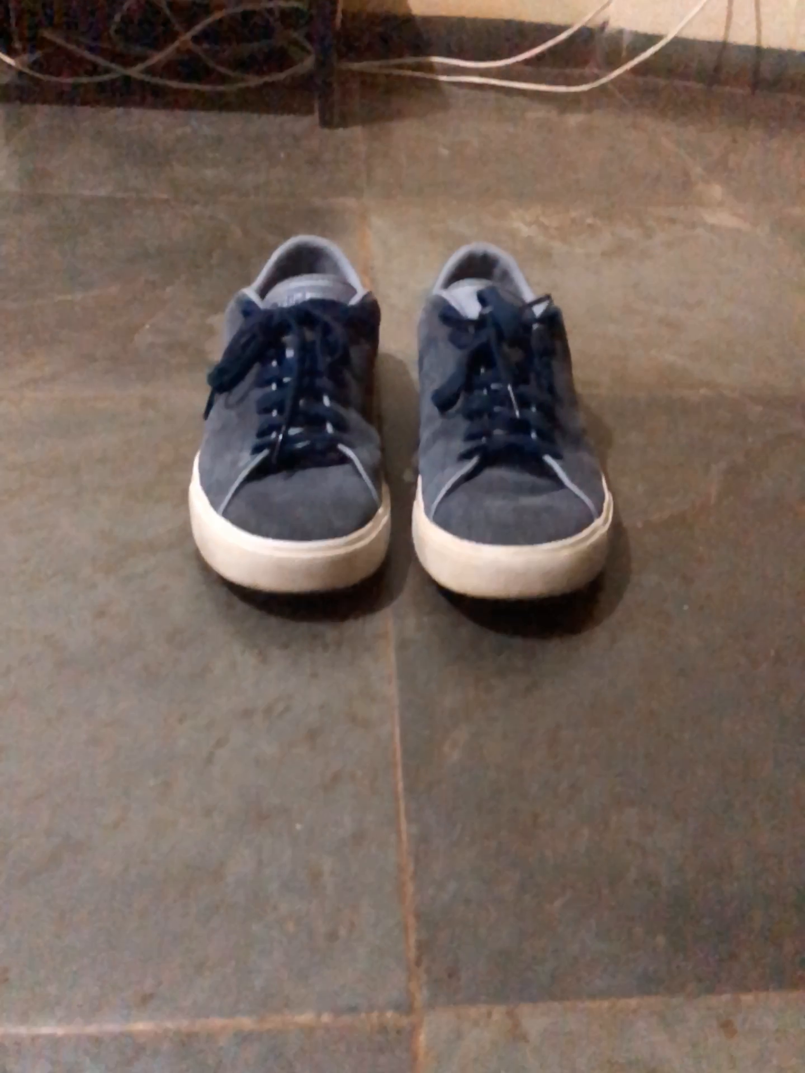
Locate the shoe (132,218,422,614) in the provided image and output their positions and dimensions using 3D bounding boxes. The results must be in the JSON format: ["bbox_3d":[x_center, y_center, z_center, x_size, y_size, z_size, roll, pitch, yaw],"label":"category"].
[{"bbox_3d":[-0.058,-0.082,0.468,0.110,0.079,0.272,-1,38,-4],"label":"shoe"}]

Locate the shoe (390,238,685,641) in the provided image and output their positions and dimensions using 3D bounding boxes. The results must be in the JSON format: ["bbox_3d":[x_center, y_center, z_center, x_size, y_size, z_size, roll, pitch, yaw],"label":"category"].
[{"bbox_3d":[0.052,-0.072,0.482,0.110,0.079,0.282,1,38,-3],"label":"shoe"}]
